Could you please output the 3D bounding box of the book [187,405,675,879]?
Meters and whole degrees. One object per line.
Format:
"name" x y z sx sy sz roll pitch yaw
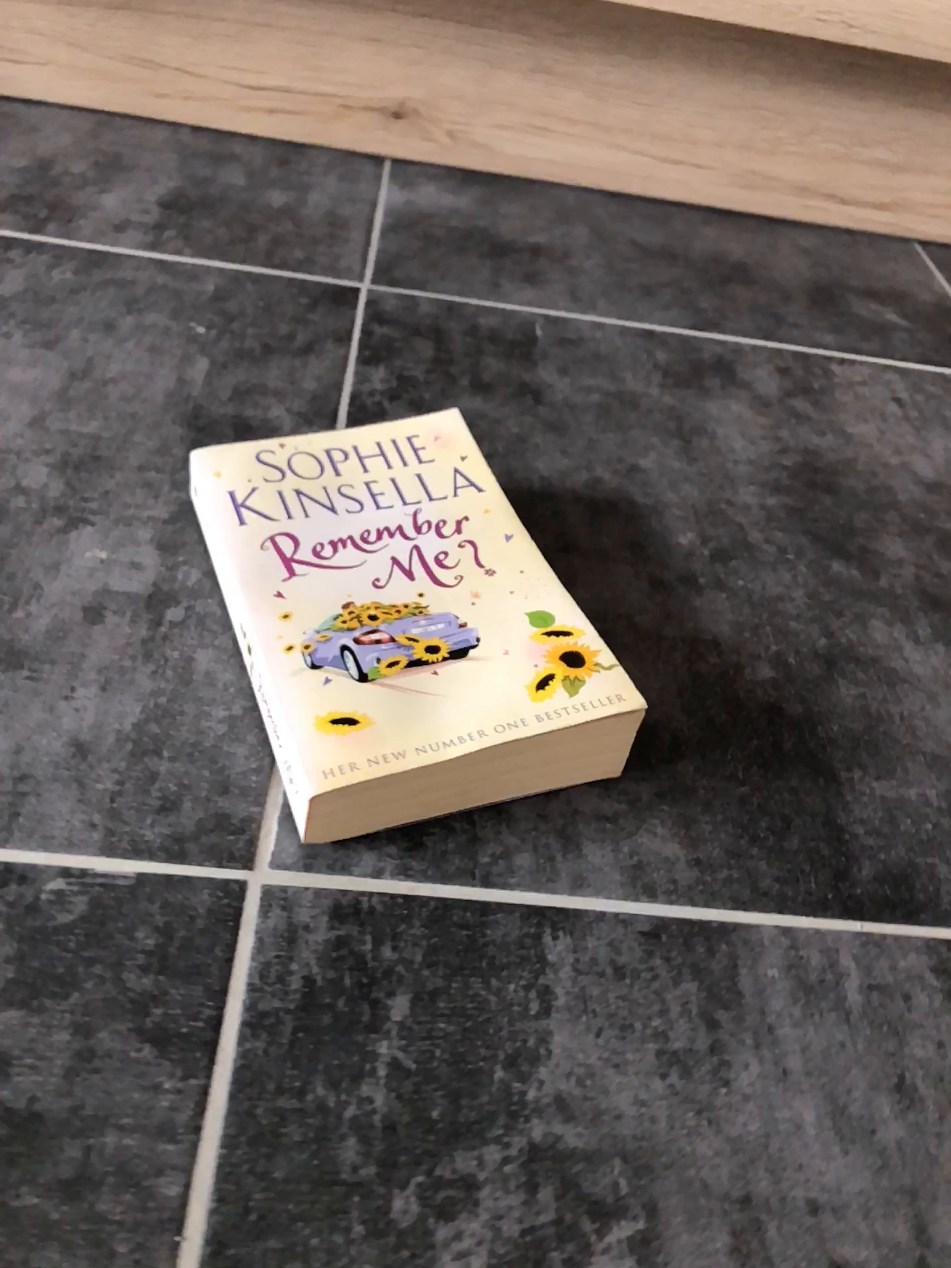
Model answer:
"book" -0.029 -0.013 0.422 0.130 0.040 0.201 -12 47 -18
